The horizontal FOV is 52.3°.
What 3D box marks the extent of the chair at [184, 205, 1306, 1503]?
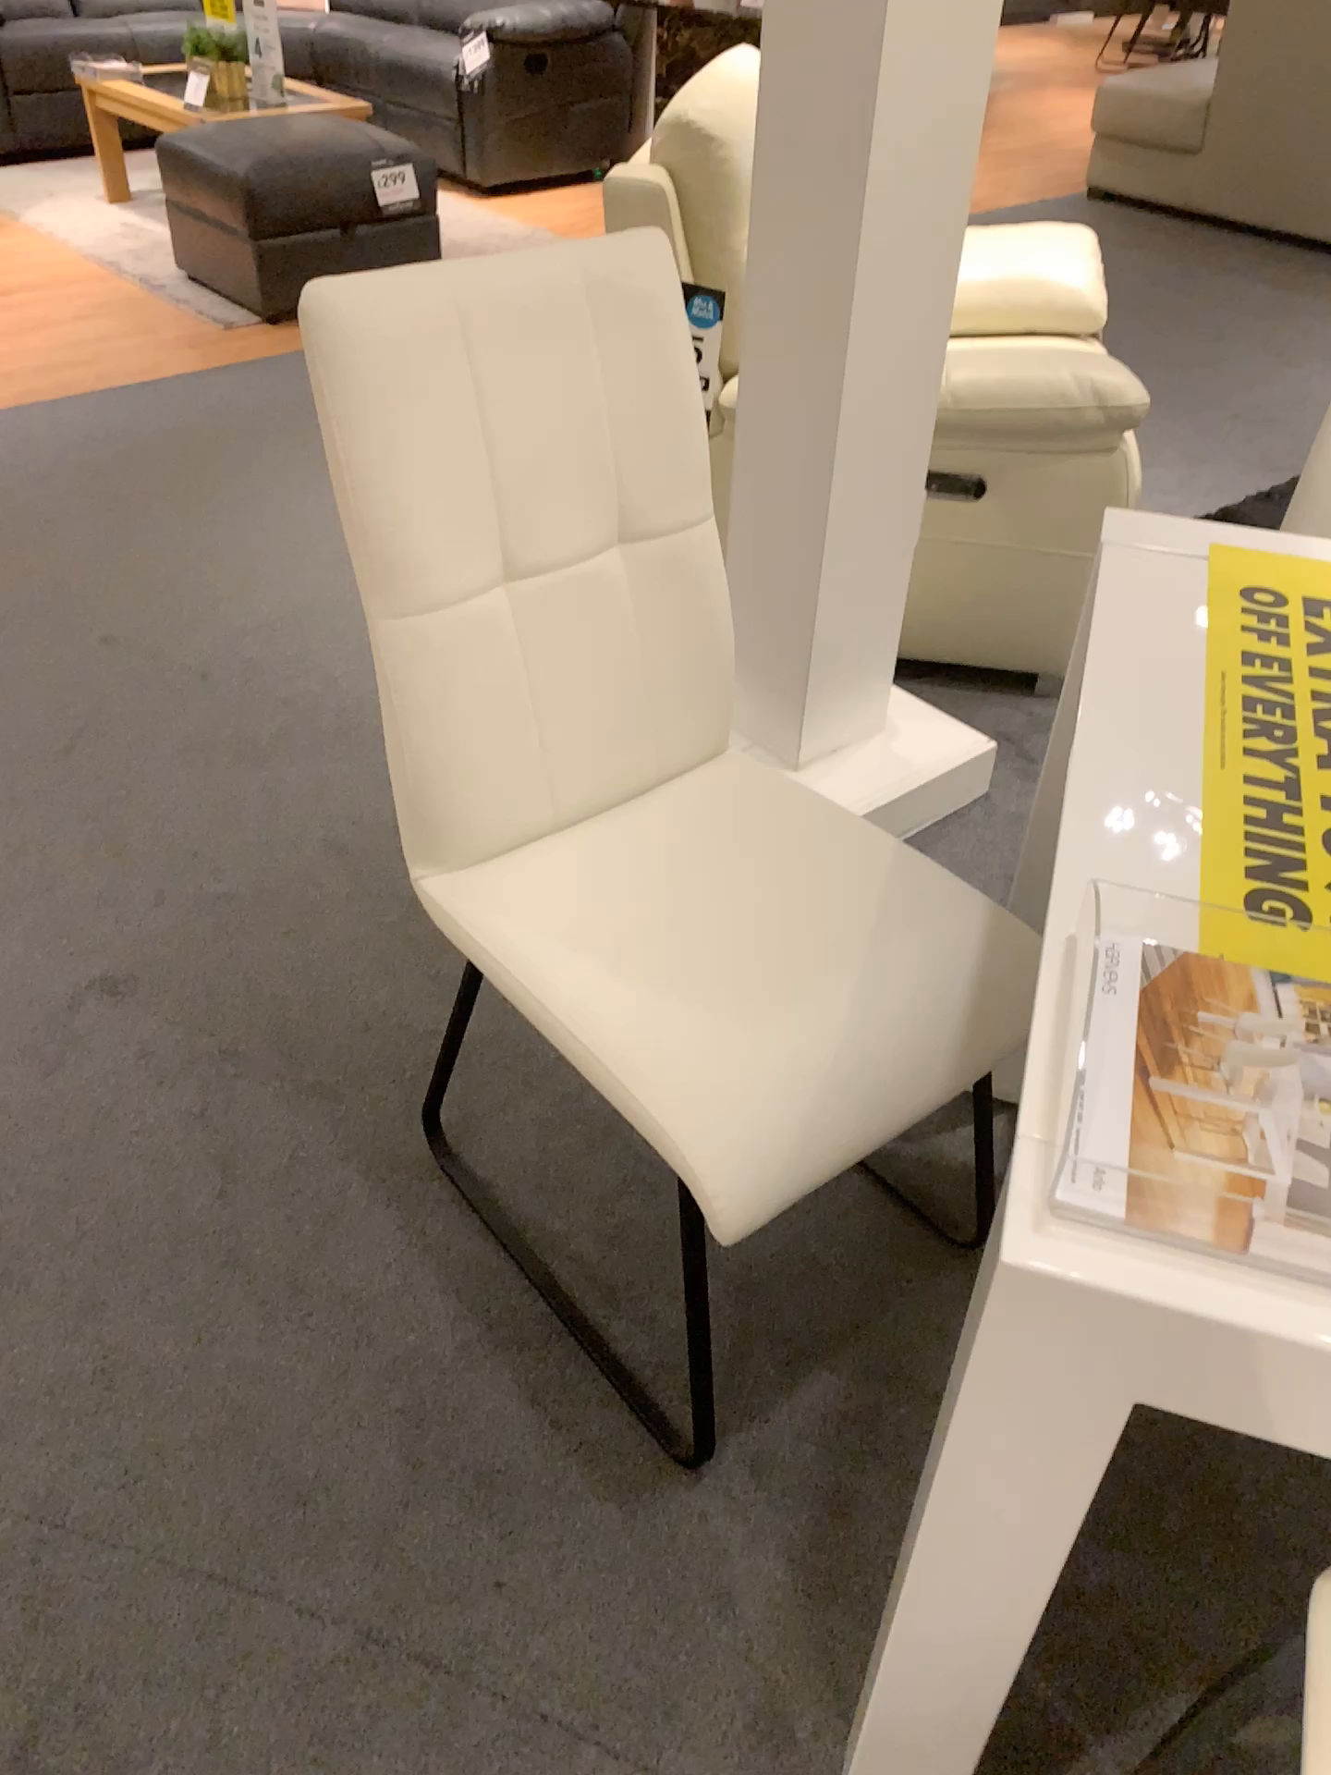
[{"bbox_3d":[0.026,-0.055,1.274,0.542,0.891,0.634,-27,47,-32],"label":"chair"}]
